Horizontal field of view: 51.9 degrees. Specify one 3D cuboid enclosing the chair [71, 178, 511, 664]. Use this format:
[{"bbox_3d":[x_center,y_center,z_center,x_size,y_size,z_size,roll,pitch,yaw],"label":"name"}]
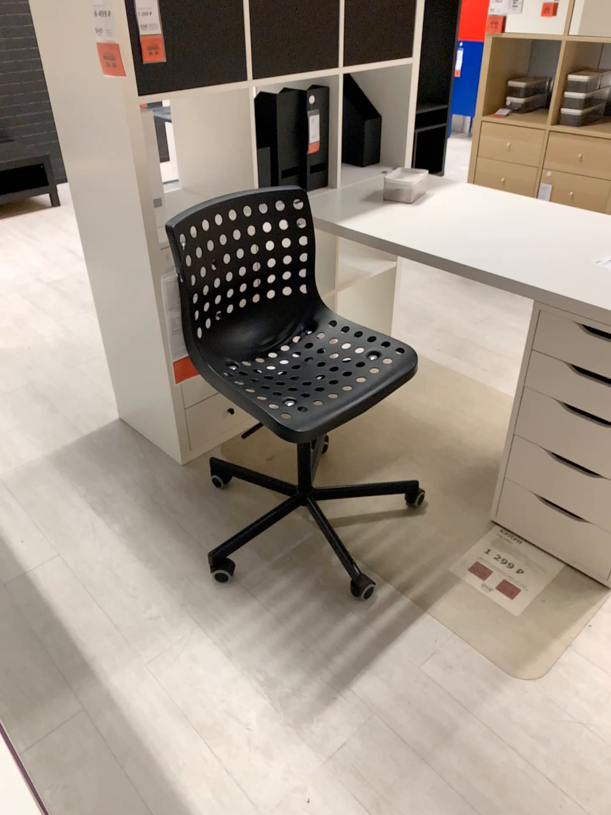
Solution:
[{"bbox_3d":[-0.042,-0.031,1.680,0.682,0.865,0.752,-28,43,-33],"label":"chair"}]
